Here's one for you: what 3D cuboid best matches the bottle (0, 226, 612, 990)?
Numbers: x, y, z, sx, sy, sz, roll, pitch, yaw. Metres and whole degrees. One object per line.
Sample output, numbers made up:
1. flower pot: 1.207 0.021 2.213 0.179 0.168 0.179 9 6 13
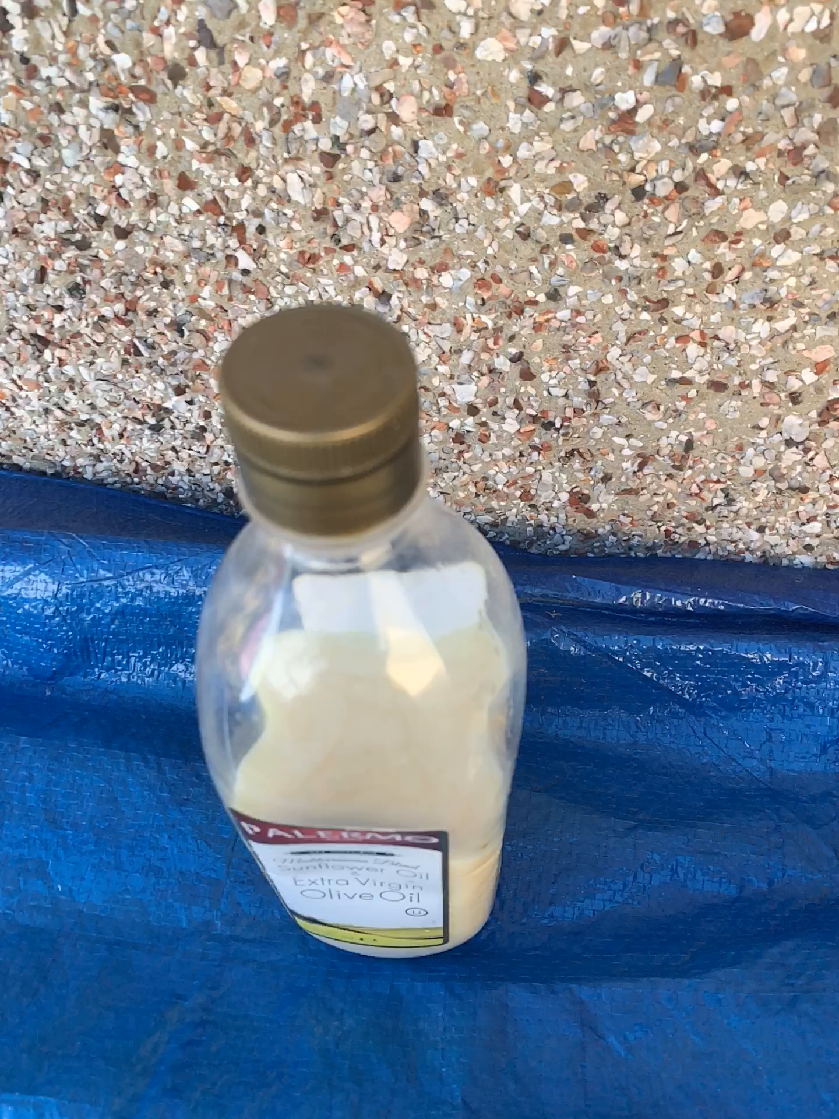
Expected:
1. bottle: -0.006 0.044 0.225 0.080 0.238 0.081 -2 55 3
